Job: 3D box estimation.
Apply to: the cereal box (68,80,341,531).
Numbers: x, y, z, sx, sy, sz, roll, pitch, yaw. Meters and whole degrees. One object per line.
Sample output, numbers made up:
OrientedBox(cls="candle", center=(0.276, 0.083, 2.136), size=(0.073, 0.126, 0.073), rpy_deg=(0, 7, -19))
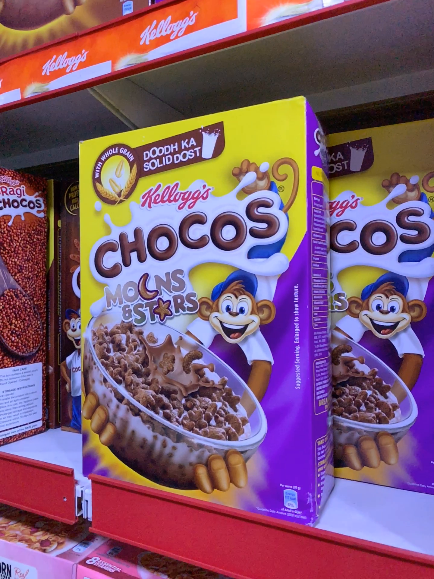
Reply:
OrientedBox(cls="cereal box", center=(-0.013, 0.009, 0.317), size=(0.180, 0.250, 0.060), rpy_deg=(-1, -1, 27))
